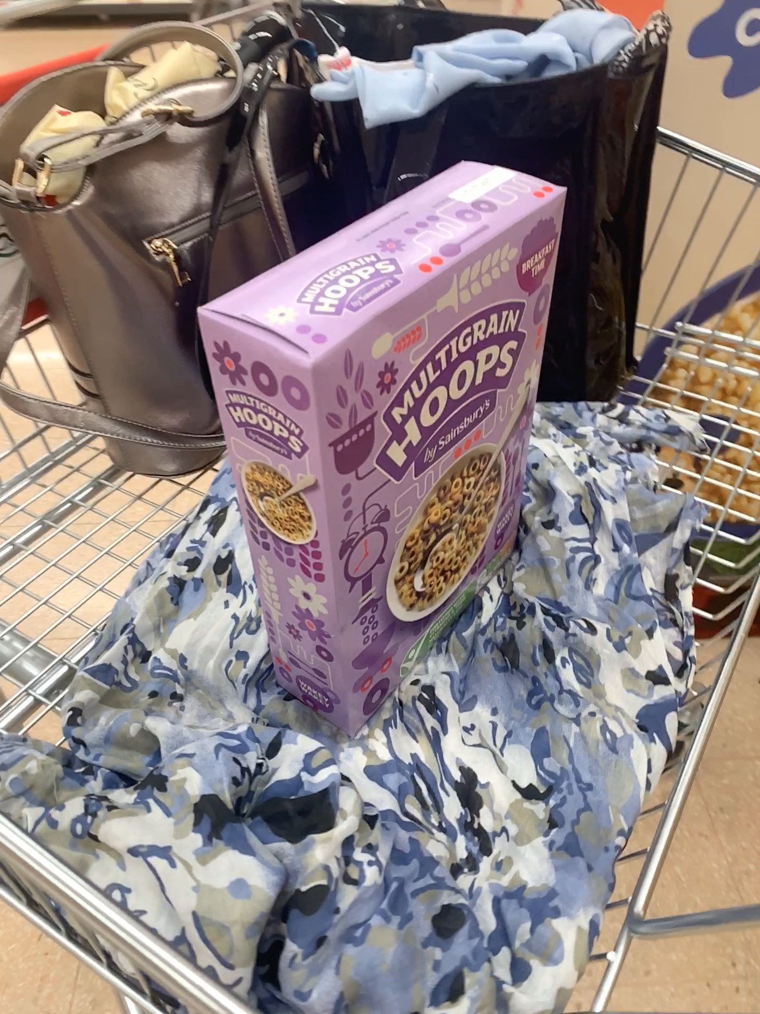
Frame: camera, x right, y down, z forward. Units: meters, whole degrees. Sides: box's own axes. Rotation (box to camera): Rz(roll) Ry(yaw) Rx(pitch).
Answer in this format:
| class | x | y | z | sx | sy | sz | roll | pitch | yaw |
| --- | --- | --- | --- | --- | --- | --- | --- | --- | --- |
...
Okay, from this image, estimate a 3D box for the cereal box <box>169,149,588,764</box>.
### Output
| class | x | y | z | sx | sy | sz | roll | pitch | yaw |
| --- | --- | --- | --- | --- | --- | --- | --- | --- | --- |
| cereal box | 0.014 | -0.023 | 0.433 | 0.070 | 0.267 | 0.211 | 27 | 50 | 27 |
